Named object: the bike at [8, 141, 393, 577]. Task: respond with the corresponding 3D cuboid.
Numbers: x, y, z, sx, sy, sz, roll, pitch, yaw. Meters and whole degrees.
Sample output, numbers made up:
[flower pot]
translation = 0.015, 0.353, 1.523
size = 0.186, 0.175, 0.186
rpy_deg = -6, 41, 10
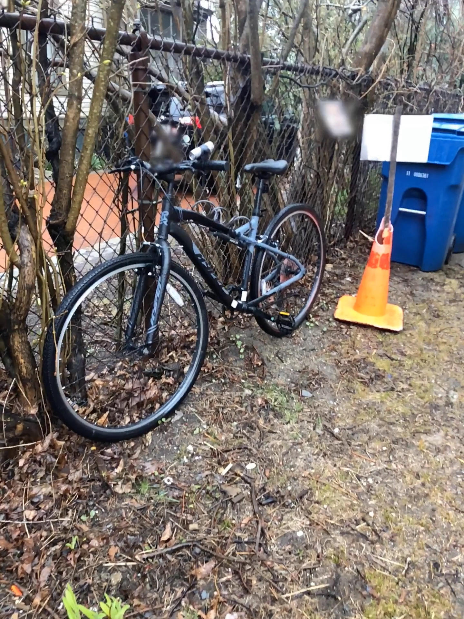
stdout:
[bike]
translation = 0.057, -0.050, 2.293
size = 0.537, 1.067, 1.893
rpy_deg = 16, 30, 33
